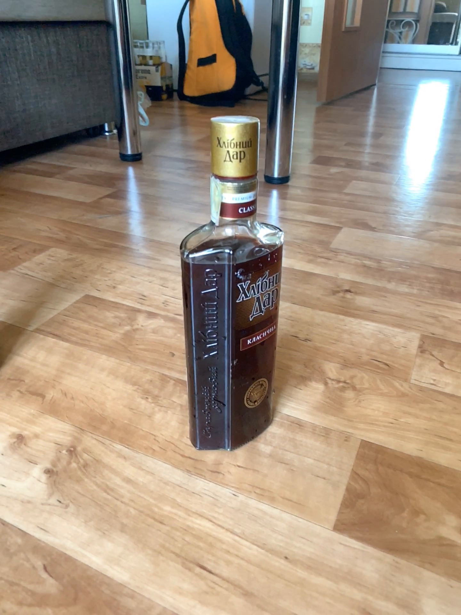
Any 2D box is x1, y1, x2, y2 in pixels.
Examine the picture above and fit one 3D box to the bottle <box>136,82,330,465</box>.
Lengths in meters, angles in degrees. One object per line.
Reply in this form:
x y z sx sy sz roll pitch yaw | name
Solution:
0.000 -0.013 0.313 0.090 0.239 0.050 -14 34 -23 | bottle
